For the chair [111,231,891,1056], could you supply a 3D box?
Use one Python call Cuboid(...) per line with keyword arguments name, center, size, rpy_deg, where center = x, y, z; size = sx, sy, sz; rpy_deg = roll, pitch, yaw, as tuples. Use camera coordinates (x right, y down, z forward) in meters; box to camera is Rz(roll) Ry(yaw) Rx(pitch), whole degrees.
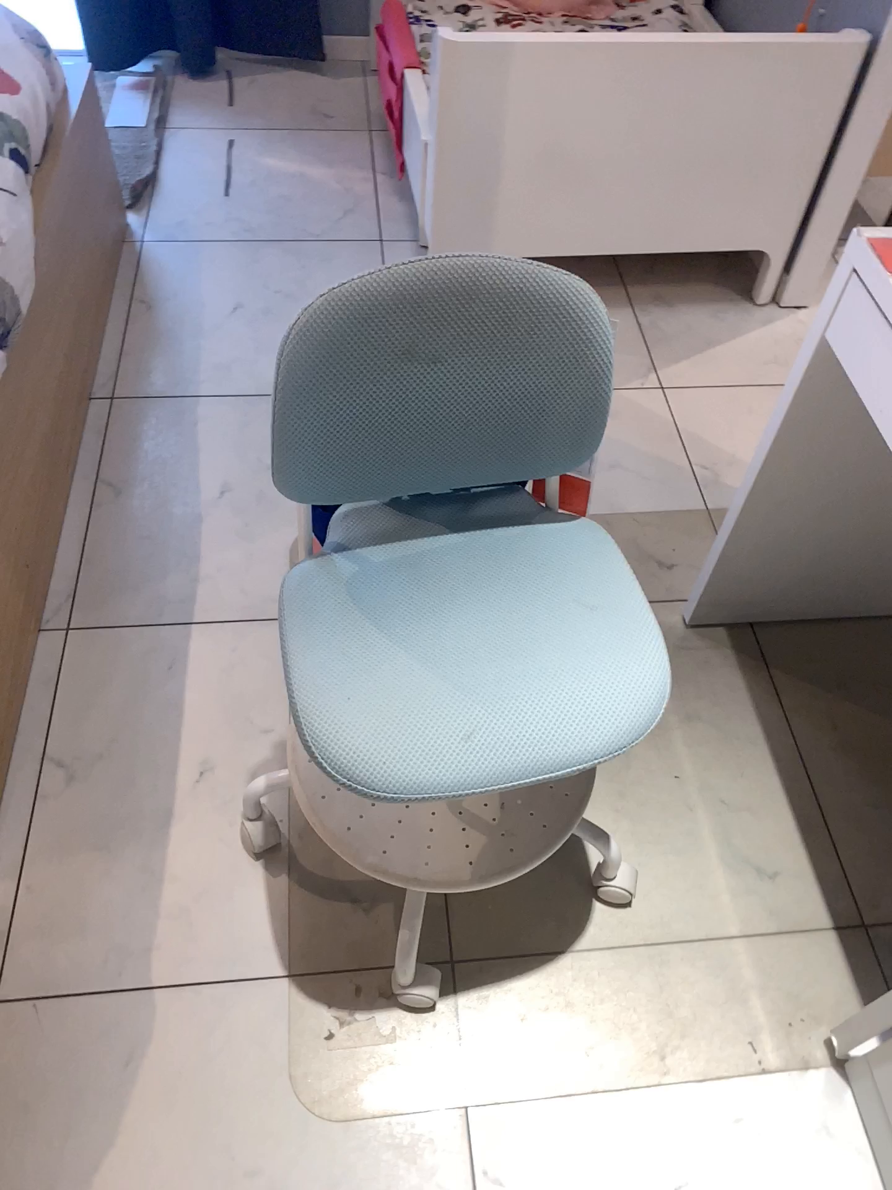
Cuboid(name="chair", center=(-0.008, 0.077, 1.117), size=(0.600, 0.718, 0.622), rpy_deg=(-9, 53, -11))
